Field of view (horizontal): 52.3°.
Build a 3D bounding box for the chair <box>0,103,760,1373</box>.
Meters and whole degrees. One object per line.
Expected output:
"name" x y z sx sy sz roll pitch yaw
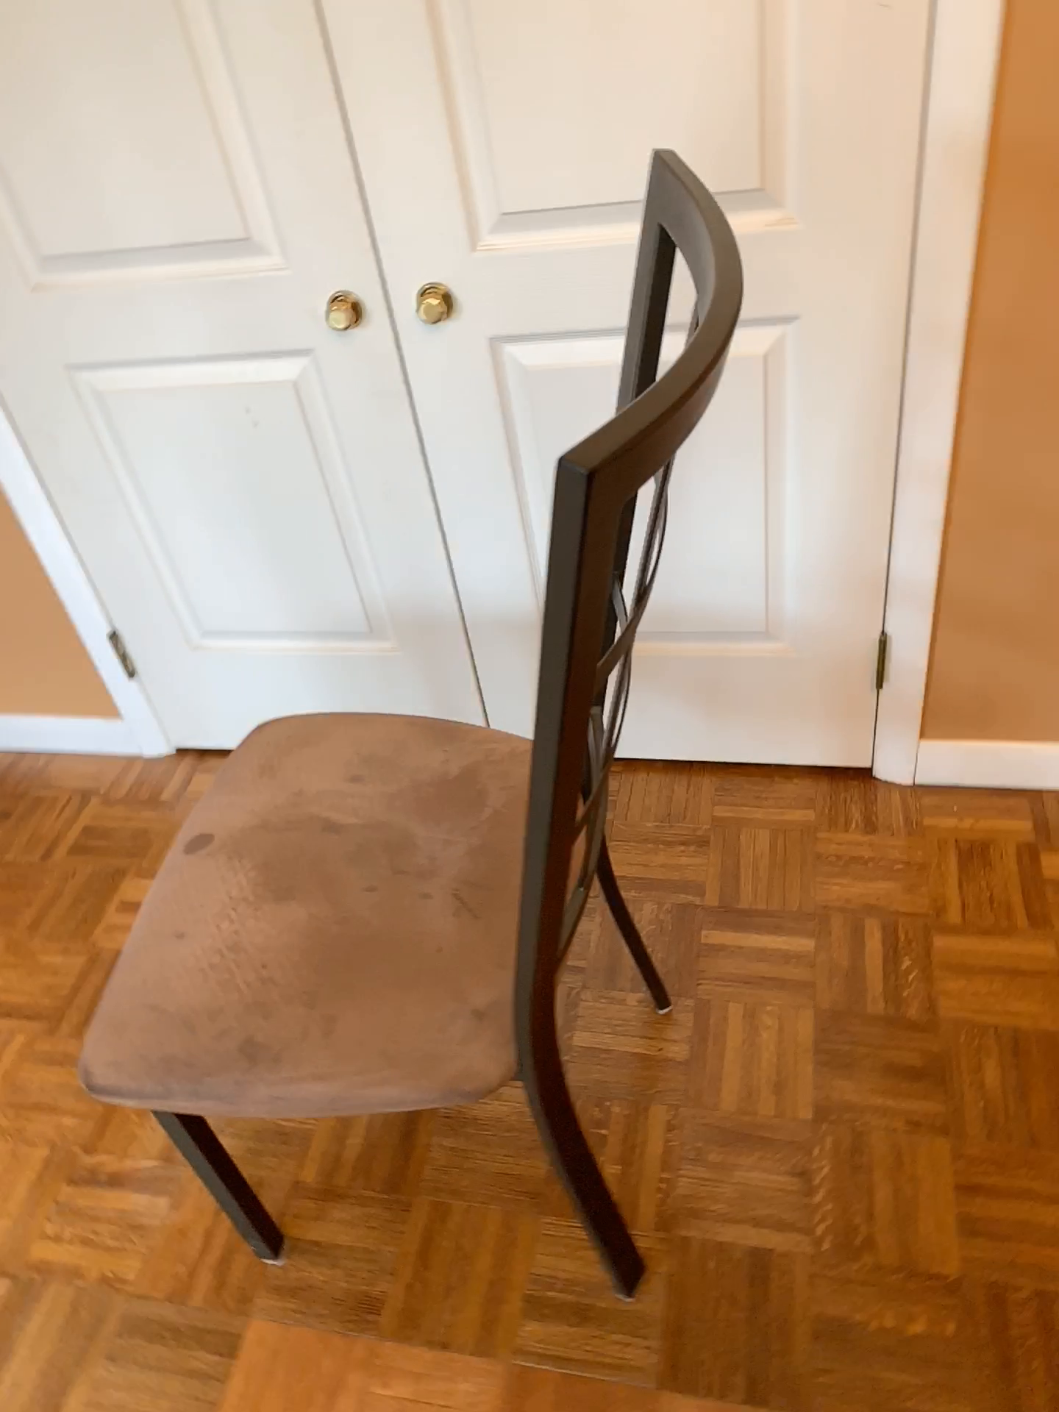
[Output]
"chair" -0.136 0.091 0.972 0.620 0.985 0.512 3 42 12
